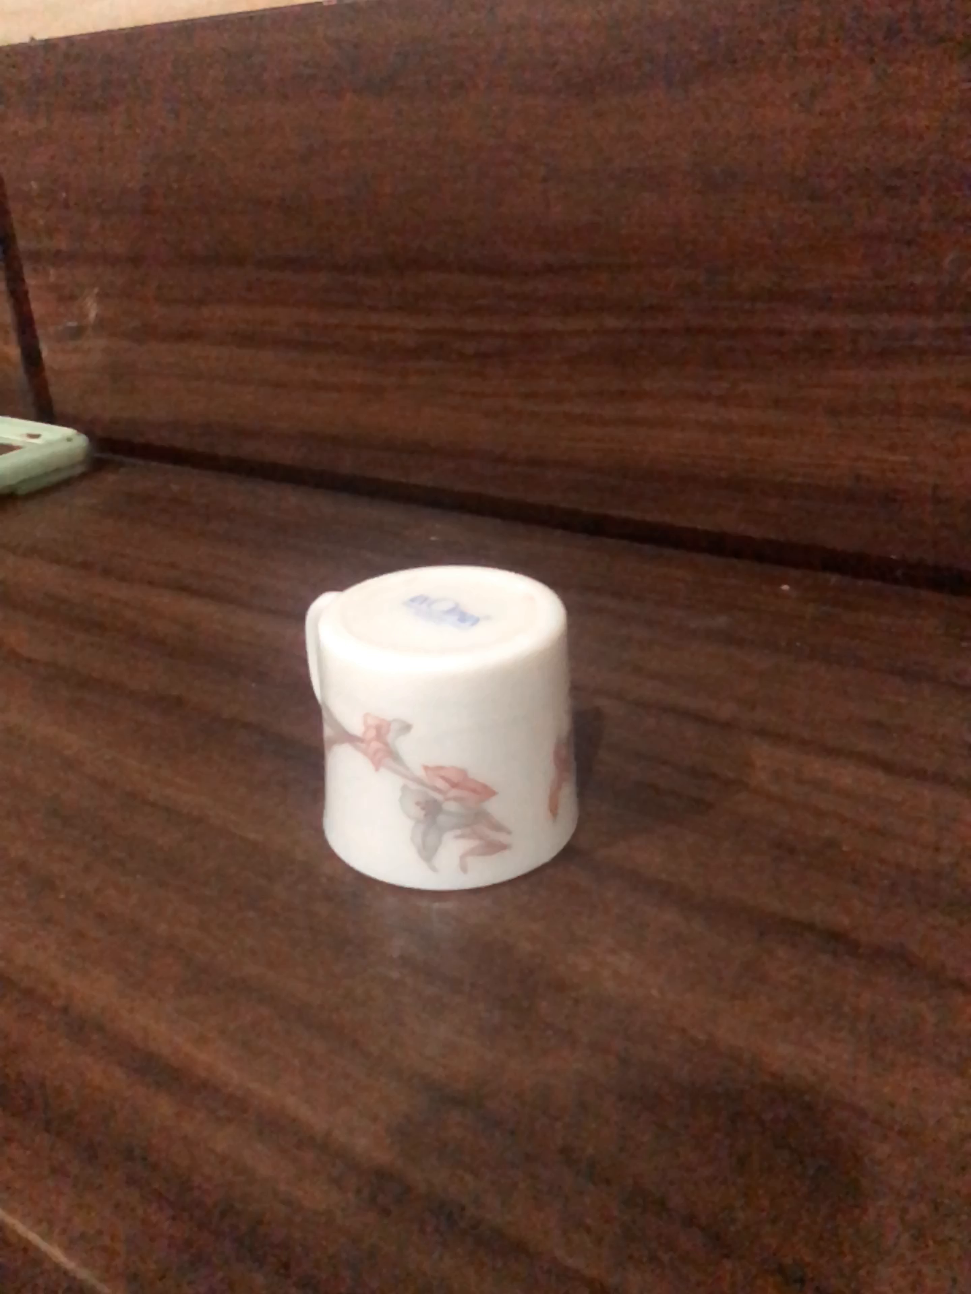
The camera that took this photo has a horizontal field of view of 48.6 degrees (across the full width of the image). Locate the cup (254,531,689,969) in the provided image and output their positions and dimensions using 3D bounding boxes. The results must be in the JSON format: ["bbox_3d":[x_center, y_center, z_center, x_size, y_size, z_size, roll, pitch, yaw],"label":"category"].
[{"bbox_3d":[-0.002,0.021,0.280,0.090,0.070,0.060,18,35,38],"label":"cup"}]
